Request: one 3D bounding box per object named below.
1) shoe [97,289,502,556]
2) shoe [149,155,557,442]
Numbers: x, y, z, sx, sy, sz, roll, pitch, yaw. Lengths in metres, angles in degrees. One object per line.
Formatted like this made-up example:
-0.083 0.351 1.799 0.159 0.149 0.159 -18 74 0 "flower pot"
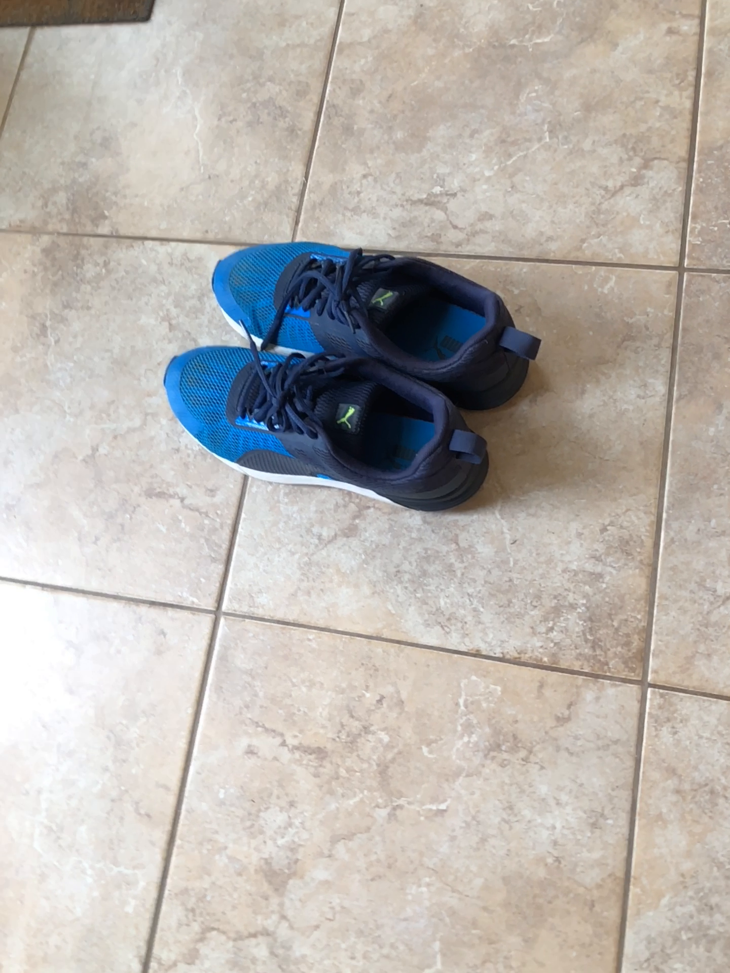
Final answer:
-0.046 -0.050 0.630 0.280 0.100 0.110 18 80 15 "shoe"
-0.008 -0.151 0.646 0.290 0.100 0.110 22 81 15 "shoe"
